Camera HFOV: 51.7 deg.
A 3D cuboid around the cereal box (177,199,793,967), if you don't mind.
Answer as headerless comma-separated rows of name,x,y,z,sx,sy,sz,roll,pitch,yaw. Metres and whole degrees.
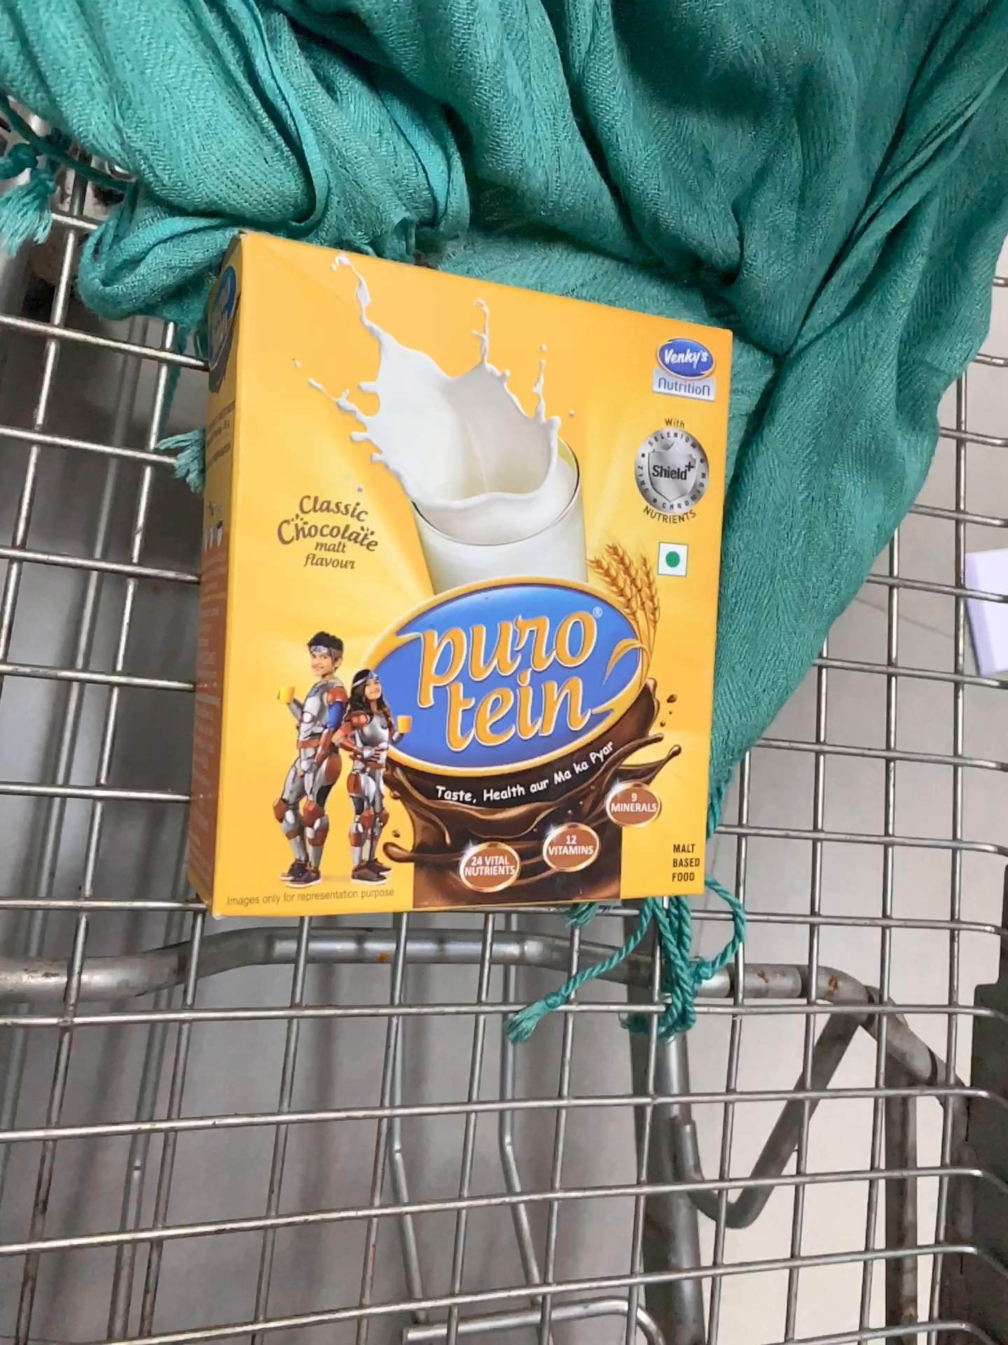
cereal box,-0.004,-0.016,0.268,0.140,0.050,0.160,3,92,-24
